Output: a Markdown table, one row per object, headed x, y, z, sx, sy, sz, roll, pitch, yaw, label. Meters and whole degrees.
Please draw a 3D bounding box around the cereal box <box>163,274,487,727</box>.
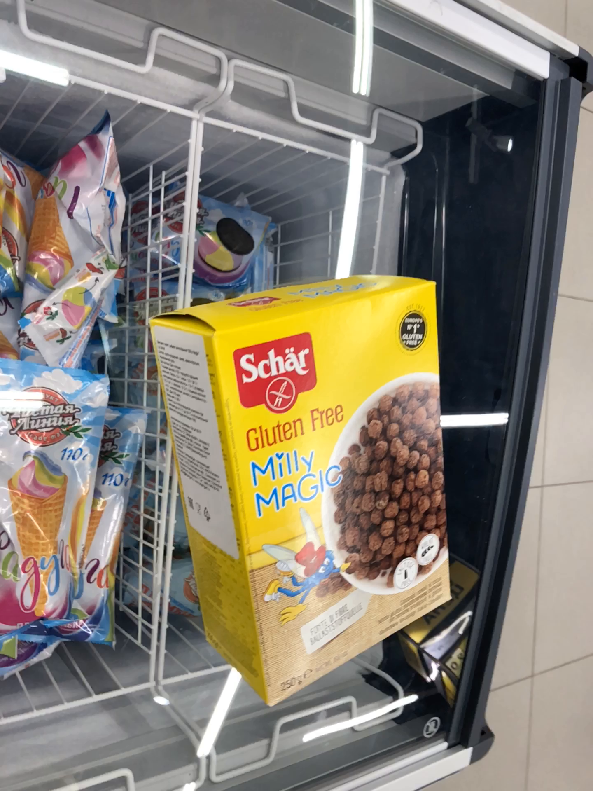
| x | y | z | sx | sy | sz | roll | pitch | yaw | label |
| --- | --- | --- | --- | --- | --- | --- | --- | --- | --- |
| 0.028 | 0.048 | 0.395 | 0.171 | 0.070 | 0.220 | -15 | 108 | -31 | cereal box |
